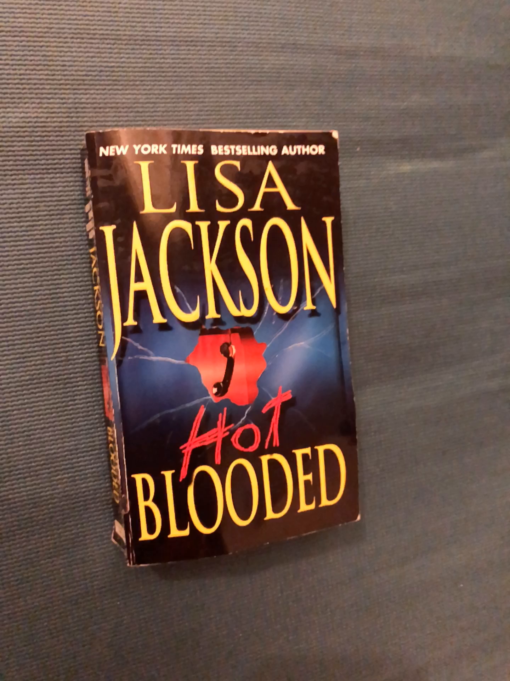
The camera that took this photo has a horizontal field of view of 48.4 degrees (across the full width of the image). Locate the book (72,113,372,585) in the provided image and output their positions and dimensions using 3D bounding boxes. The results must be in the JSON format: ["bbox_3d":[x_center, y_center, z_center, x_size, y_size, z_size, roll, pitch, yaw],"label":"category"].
[{"bbox_3d":[-0.013,0.000,0.237,0.103,0.040,0.171,-5,94,-14],"label":"book"}]
